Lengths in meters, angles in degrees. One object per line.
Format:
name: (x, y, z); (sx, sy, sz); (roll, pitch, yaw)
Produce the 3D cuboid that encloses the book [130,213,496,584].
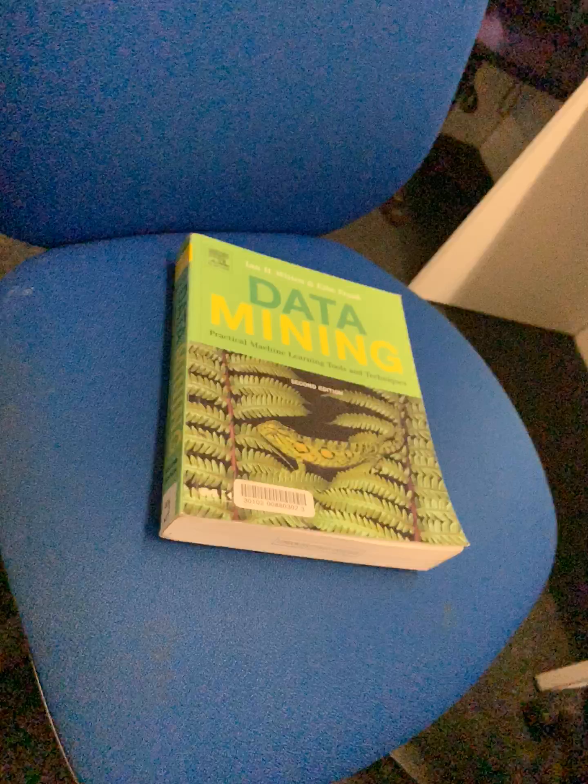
book: (0.010, 0.001, 0.433); (0.220, 0.050, 0.242); (12, 51, -22)
